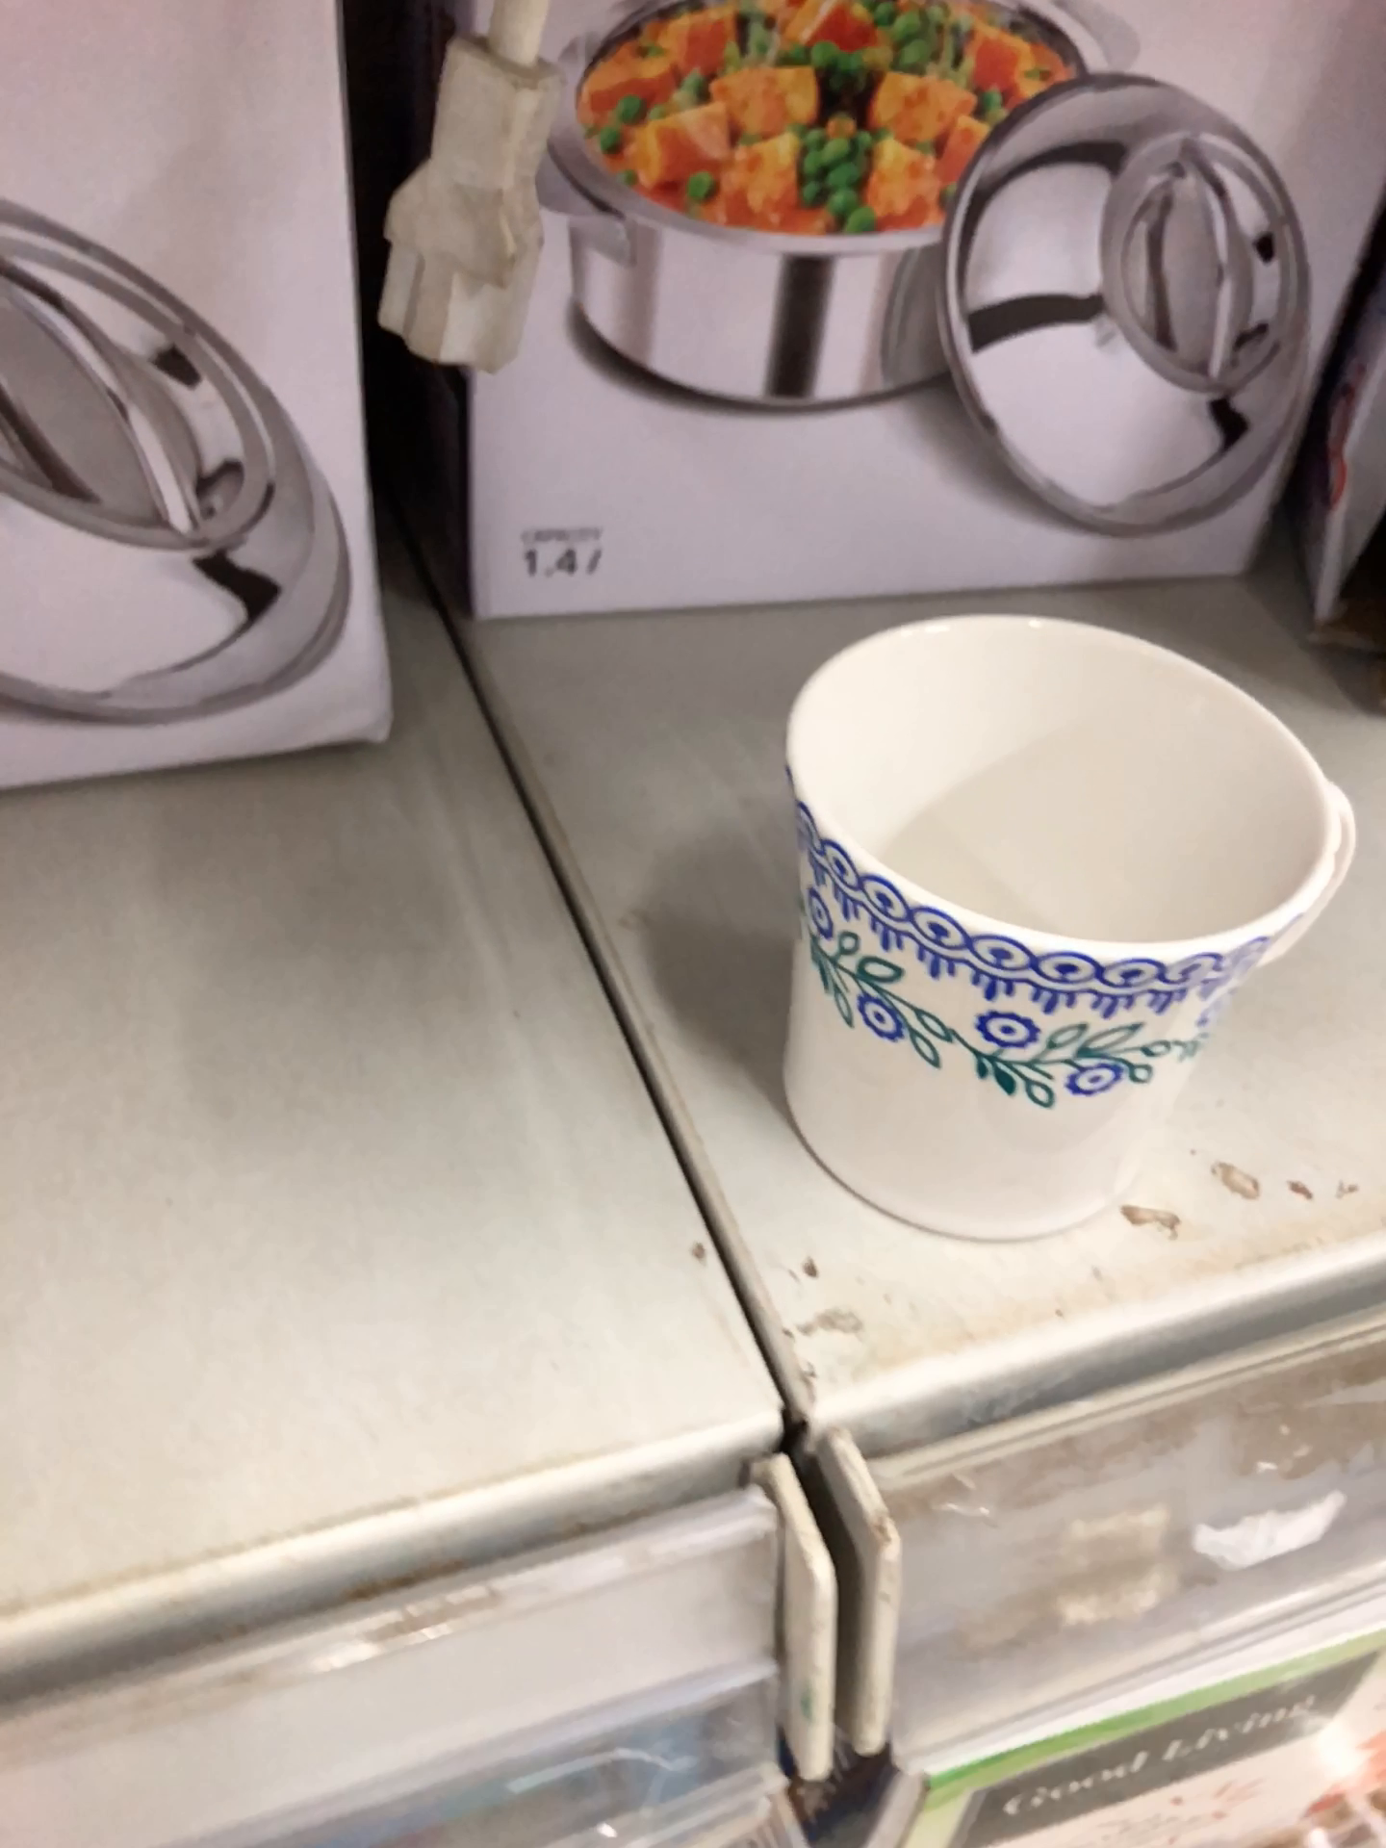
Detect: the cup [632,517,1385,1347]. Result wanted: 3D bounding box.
[{"bbox_3d":[0.053,-0.004,0.226,0.100,0.069,0.070,-15,47,-22],"label":"cup"}]
